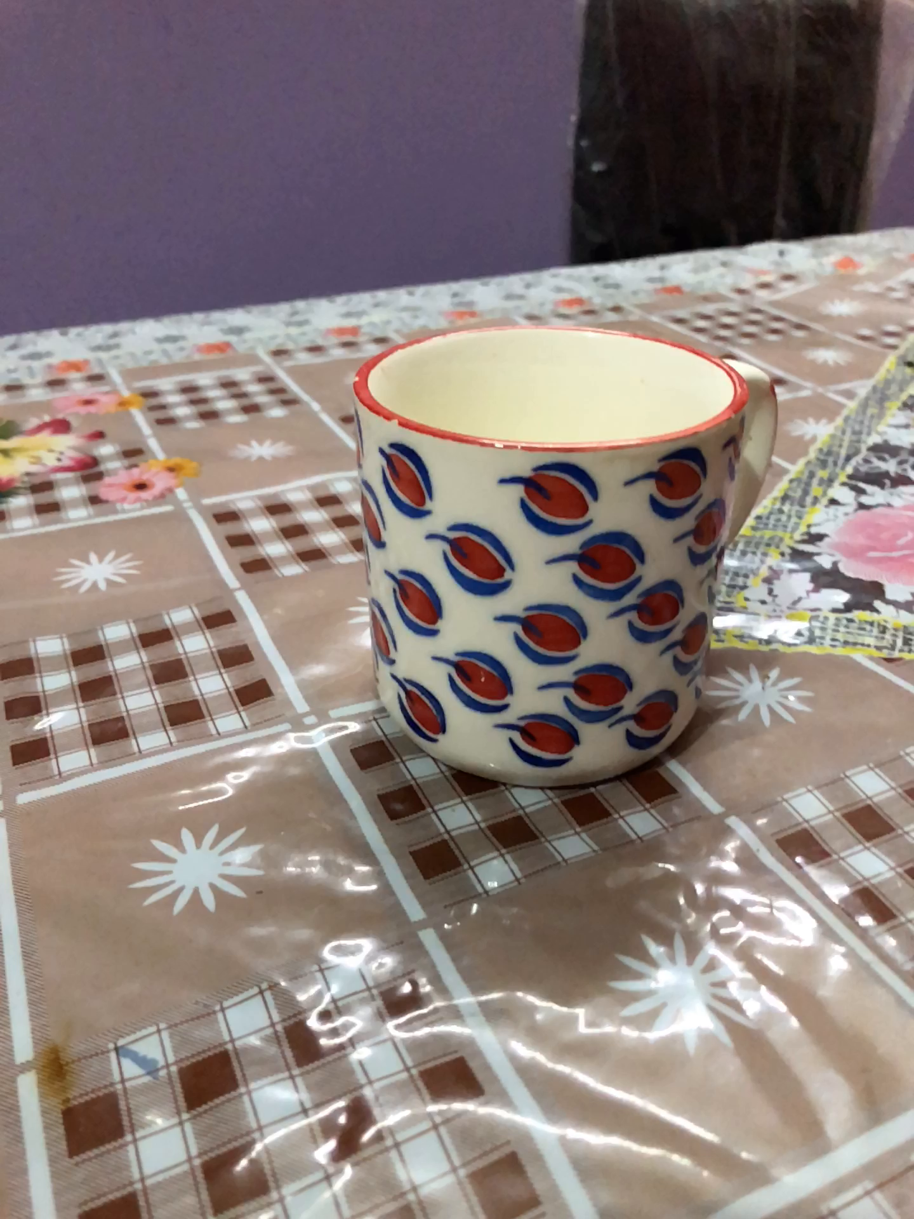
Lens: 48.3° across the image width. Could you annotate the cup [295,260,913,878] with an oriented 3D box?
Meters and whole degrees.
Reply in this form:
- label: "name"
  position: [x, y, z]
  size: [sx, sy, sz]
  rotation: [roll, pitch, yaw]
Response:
- label: "cup"
  position: [0.037, -0.020, 0.219]
  size: [0.110, 0.079, 0.080]
  rotation: [-22, 37, -32]
